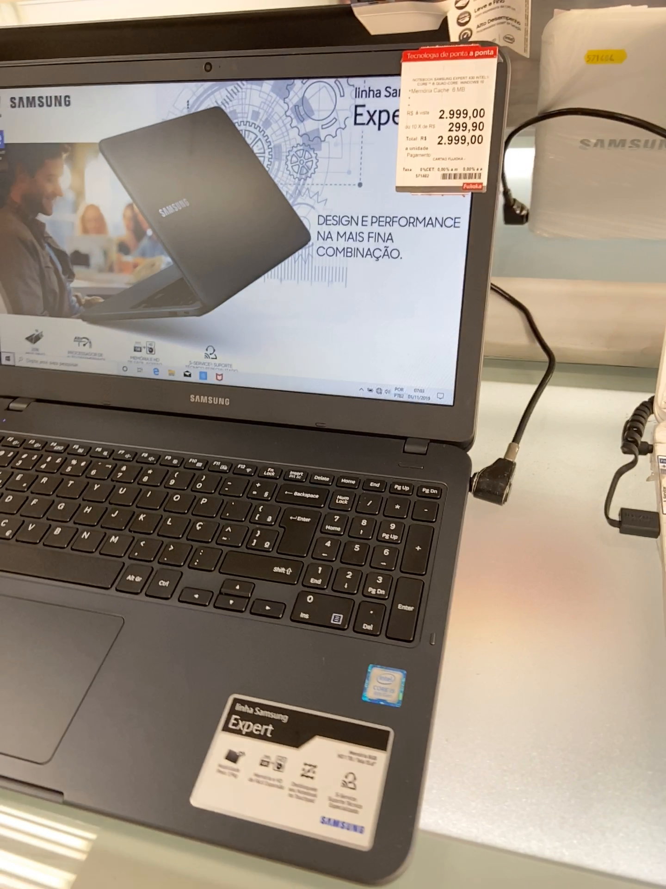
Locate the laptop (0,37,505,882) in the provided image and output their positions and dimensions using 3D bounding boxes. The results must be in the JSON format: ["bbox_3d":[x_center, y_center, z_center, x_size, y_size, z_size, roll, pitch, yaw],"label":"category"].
[{"bbox_3d":[-0.116,-0.046,0.377,0.371,0.200,0.370,5,45,15],"label":"laptop"}]
